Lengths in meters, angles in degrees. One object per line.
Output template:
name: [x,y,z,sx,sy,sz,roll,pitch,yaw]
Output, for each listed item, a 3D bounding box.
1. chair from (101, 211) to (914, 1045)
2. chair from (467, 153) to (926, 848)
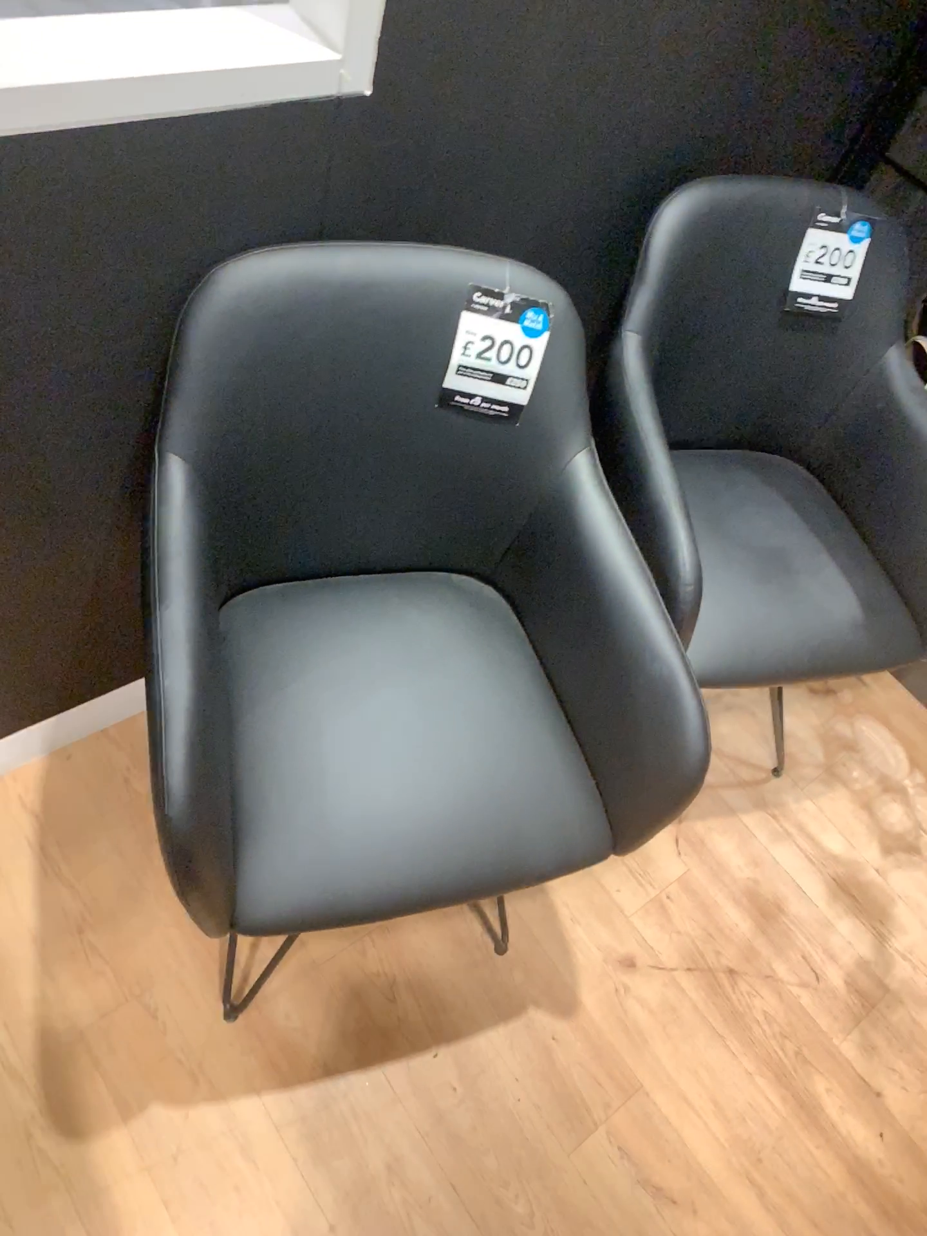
chair: [-0.072,0.051,1.145,0.604,0.778,0.595,-5,56,-19]
chair: [0.453,-0.142,1.463,0.564,0.837,0.595,-8,57,-21]
